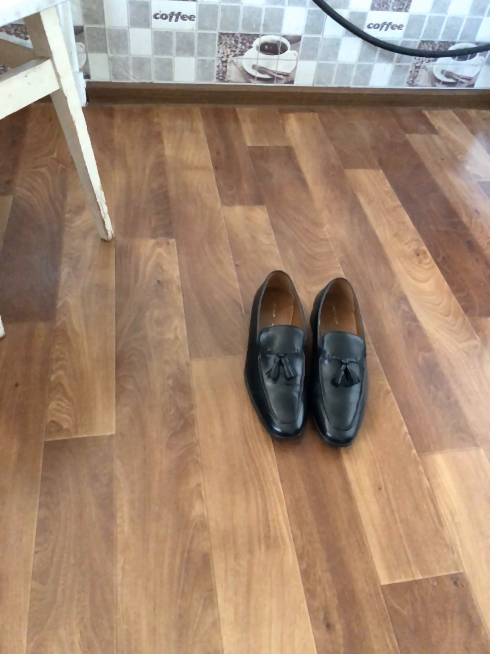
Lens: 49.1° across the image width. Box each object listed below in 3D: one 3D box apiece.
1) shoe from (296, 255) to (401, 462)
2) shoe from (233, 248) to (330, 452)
[{"bbox_3d":[0.146,0.038,0.828,0.110,0.119,0.302,6,48,-2],"label":"shoe"},{"bbox_3d":[0.043,0.026,0.826,0.110,0.119,0.302,2,48,-5],"label":"shoe"}]
